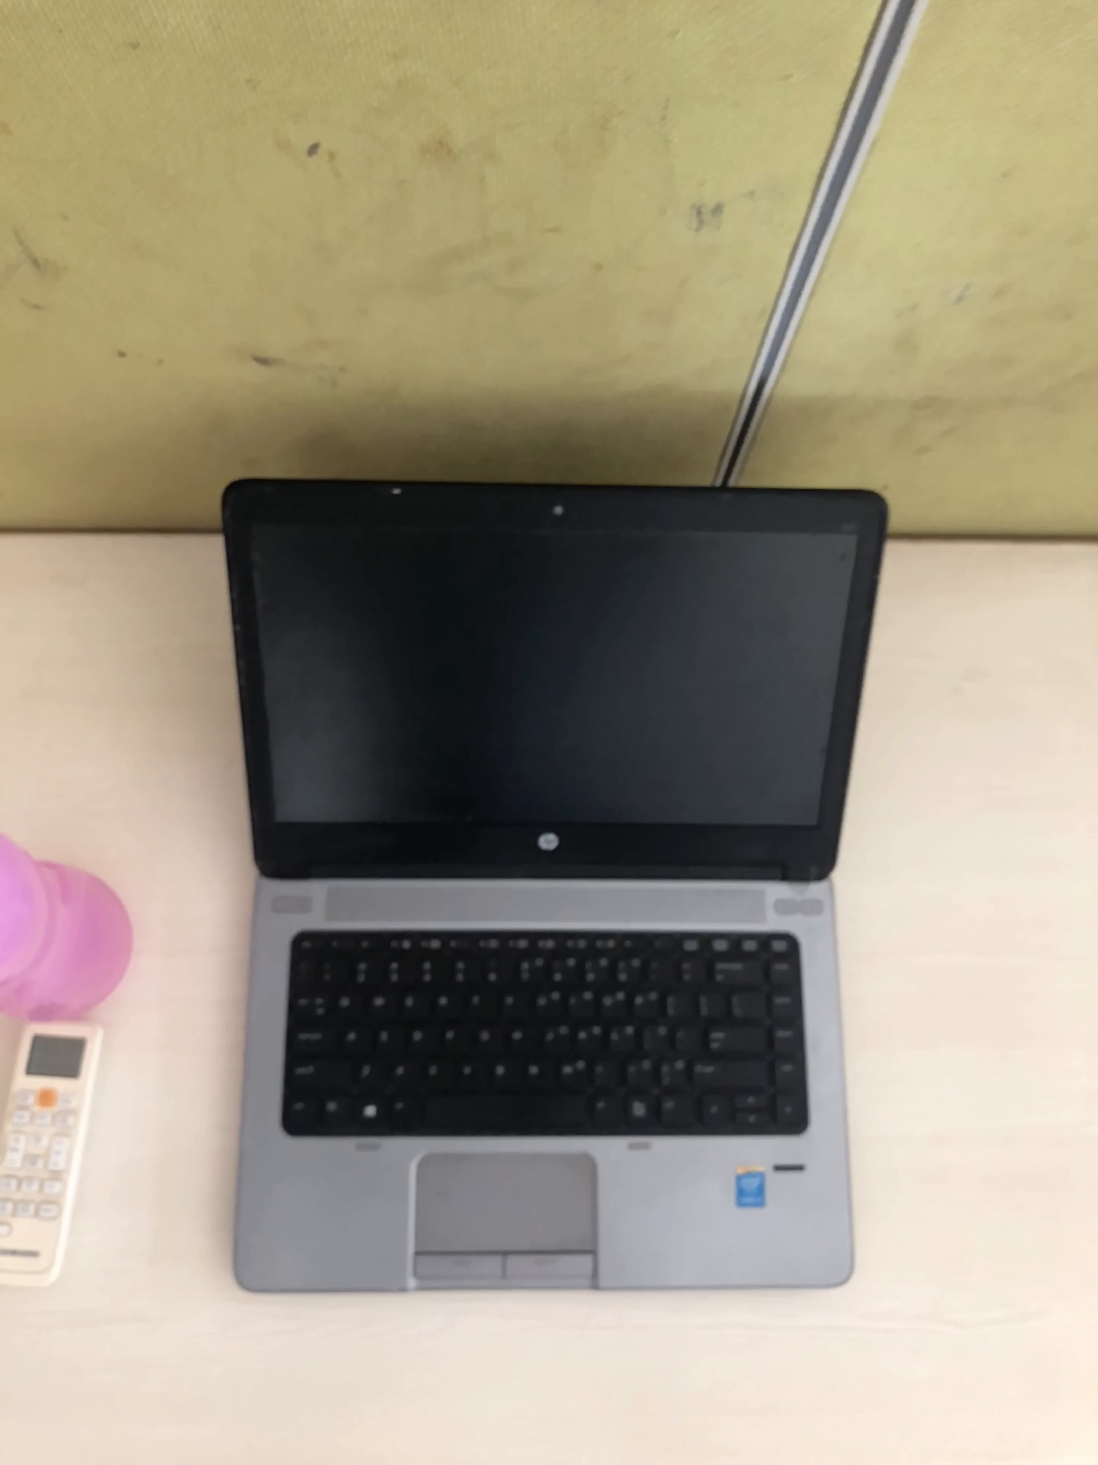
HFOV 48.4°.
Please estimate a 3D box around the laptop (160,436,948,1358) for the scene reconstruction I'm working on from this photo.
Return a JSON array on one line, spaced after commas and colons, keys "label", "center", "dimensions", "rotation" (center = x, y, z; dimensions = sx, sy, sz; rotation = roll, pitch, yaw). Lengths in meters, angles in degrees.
[{"label": "laptop", "center": [0.001, 0.079, 0.618], "dimensions": [0.326, 0.148, 0.406], "rotation": [0, 78, -1]}]
